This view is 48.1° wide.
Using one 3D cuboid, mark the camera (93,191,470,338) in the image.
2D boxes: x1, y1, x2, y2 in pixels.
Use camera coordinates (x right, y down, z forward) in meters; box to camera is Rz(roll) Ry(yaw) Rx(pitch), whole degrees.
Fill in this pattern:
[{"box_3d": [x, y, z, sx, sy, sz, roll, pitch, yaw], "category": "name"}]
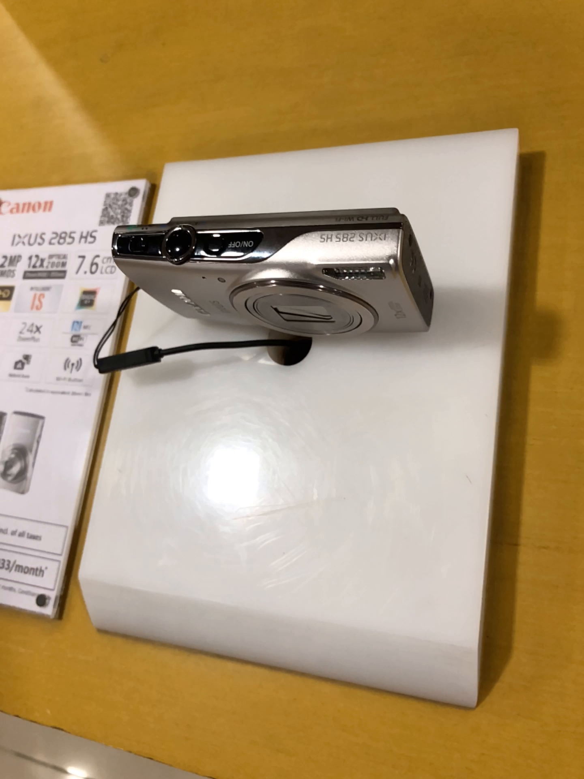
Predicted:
[{"box_3d": [-0.001, -0.038, 0.219, 0.110, 0.060, 0.020, 3, 76, 23], "category": "camera"}]
